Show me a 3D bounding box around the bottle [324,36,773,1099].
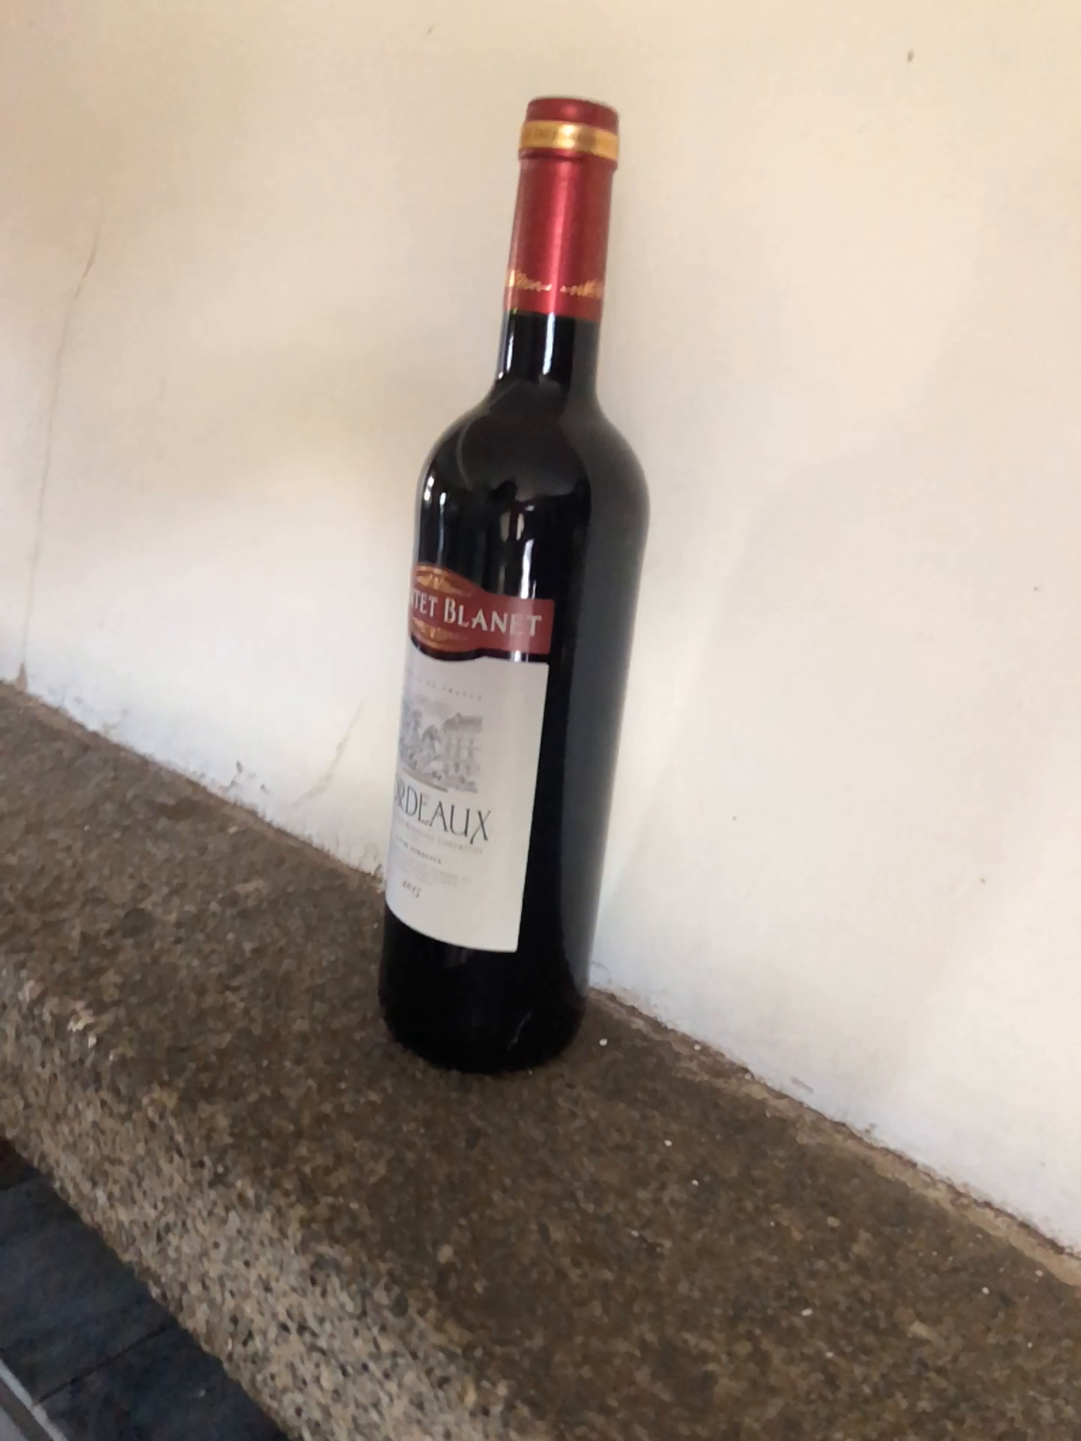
[{"bbox_3d":[-0.003,-0.040,0.376,0.080,0.289,0.080,6,15,-1],"label":"bottle"}]
